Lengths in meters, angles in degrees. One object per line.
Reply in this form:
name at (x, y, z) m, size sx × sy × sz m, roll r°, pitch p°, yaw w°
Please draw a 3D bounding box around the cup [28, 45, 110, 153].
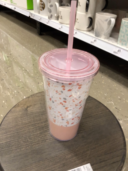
cup at (0.006, 0.022, 0.263) m, size 0.090 × 0.149 × 0.090 m, roll 3°, pitch 36°, yaw -2°
